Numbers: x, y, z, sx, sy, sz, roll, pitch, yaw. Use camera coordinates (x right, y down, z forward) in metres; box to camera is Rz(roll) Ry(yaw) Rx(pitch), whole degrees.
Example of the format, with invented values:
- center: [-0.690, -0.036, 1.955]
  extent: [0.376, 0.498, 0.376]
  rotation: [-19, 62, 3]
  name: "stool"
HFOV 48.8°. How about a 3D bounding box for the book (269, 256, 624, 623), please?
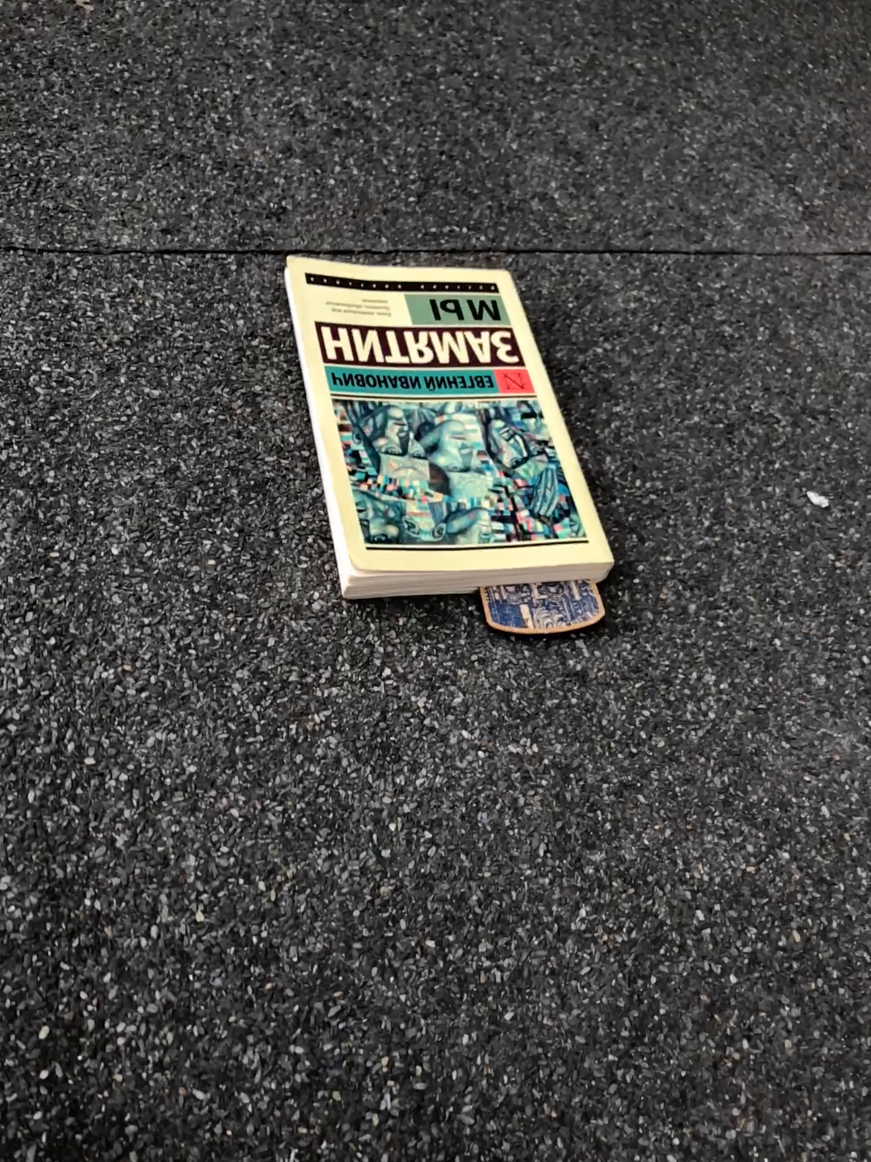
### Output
- center: [-0.002, -0.071, 0.428]
  extent: [0.120, 0.026, 0.182]
  rotation: [-3, 58, -17]
  name: "book"
